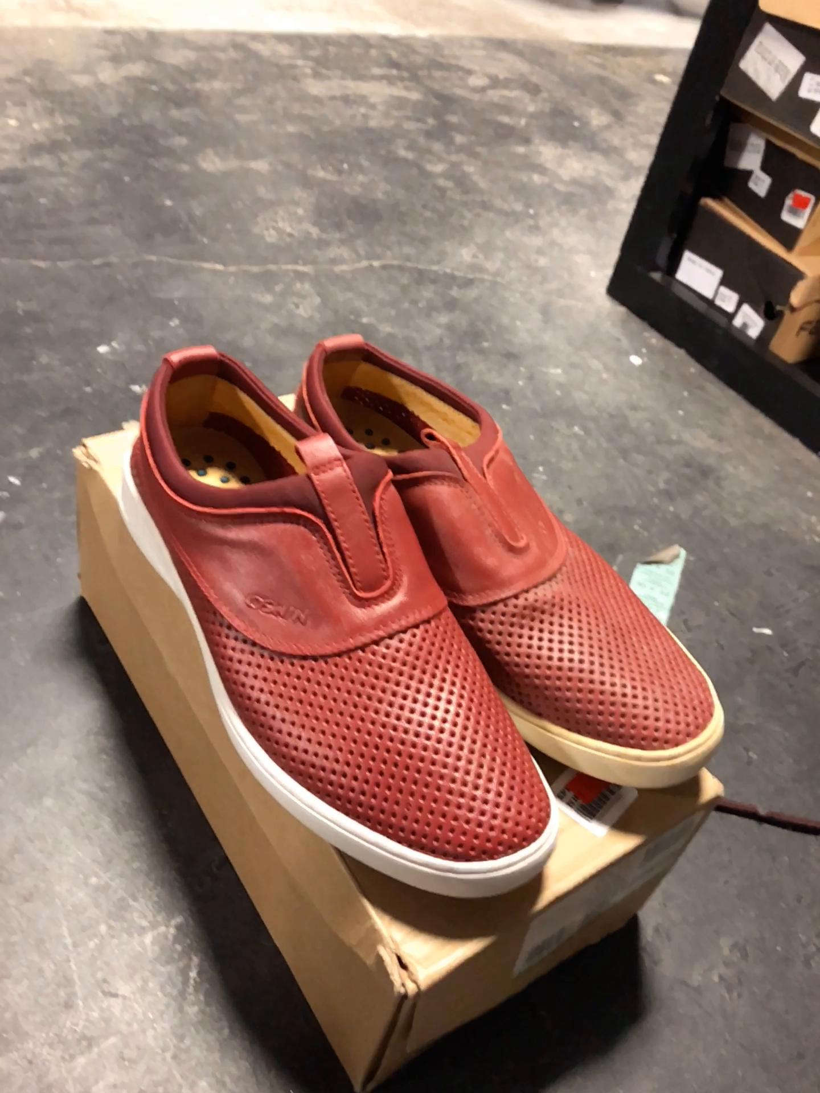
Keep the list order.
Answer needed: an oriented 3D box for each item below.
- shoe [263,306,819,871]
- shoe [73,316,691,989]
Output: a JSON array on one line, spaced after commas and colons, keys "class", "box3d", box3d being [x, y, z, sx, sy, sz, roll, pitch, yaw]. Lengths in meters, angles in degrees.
[{"class": "shoe", "box3d": [0.045, -0.001, 0.412, 0.100, 0.089, 0.251, -20, 52, -34]}, {"class": "shoe", "box3d": [-0.031, 0.019, 0.359, 0.100, 0.089, 0.251, -20, 52, -34]}]
